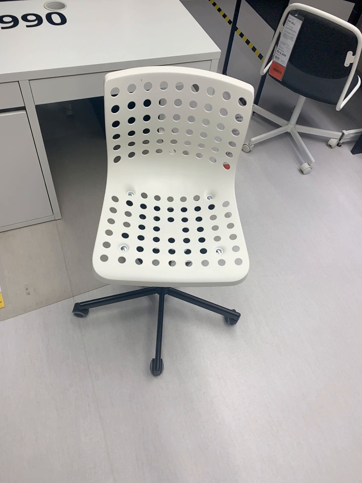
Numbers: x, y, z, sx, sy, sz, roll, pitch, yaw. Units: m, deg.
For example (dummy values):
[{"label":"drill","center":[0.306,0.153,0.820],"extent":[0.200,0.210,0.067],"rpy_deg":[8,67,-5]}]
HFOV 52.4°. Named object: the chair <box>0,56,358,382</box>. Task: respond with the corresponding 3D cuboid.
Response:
[{"label":"chair","center":[-0.055,-0.017,1.195],"extent":[0.680,0.788,0.672],"rpy_deg":[0,54,-8]}]
